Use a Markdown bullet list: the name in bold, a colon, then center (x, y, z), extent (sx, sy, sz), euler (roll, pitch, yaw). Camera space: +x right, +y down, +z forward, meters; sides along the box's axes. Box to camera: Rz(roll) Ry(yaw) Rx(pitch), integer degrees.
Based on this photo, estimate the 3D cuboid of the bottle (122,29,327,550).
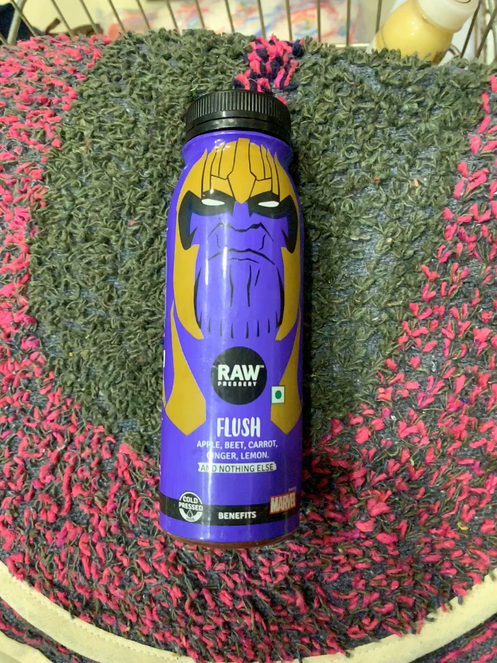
- **bottle**: center (-0.006, -0.016, 0.193), extent (0.060, 0.050, 0.170), euler (2, 84, 1)
